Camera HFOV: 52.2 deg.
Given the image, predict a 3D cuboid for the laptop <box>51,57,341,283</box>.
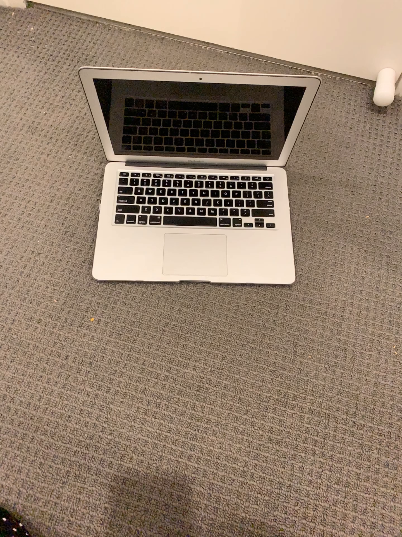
[{"bbox_3d":[-0.007,-0.128,0.600,0.322,0.215,0.227,1,65,-2],"label":"laptop"}]
